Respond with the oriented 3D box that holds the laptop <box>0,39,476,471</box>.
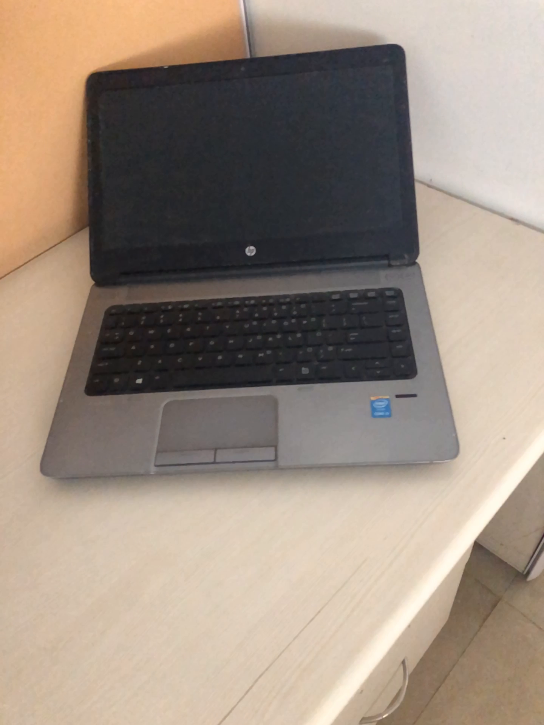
[{"bbox_3d":[-0.029,-0.119,0.529,0.316,0.125,0.393,-3,50,5],"label":"laptop"}]
